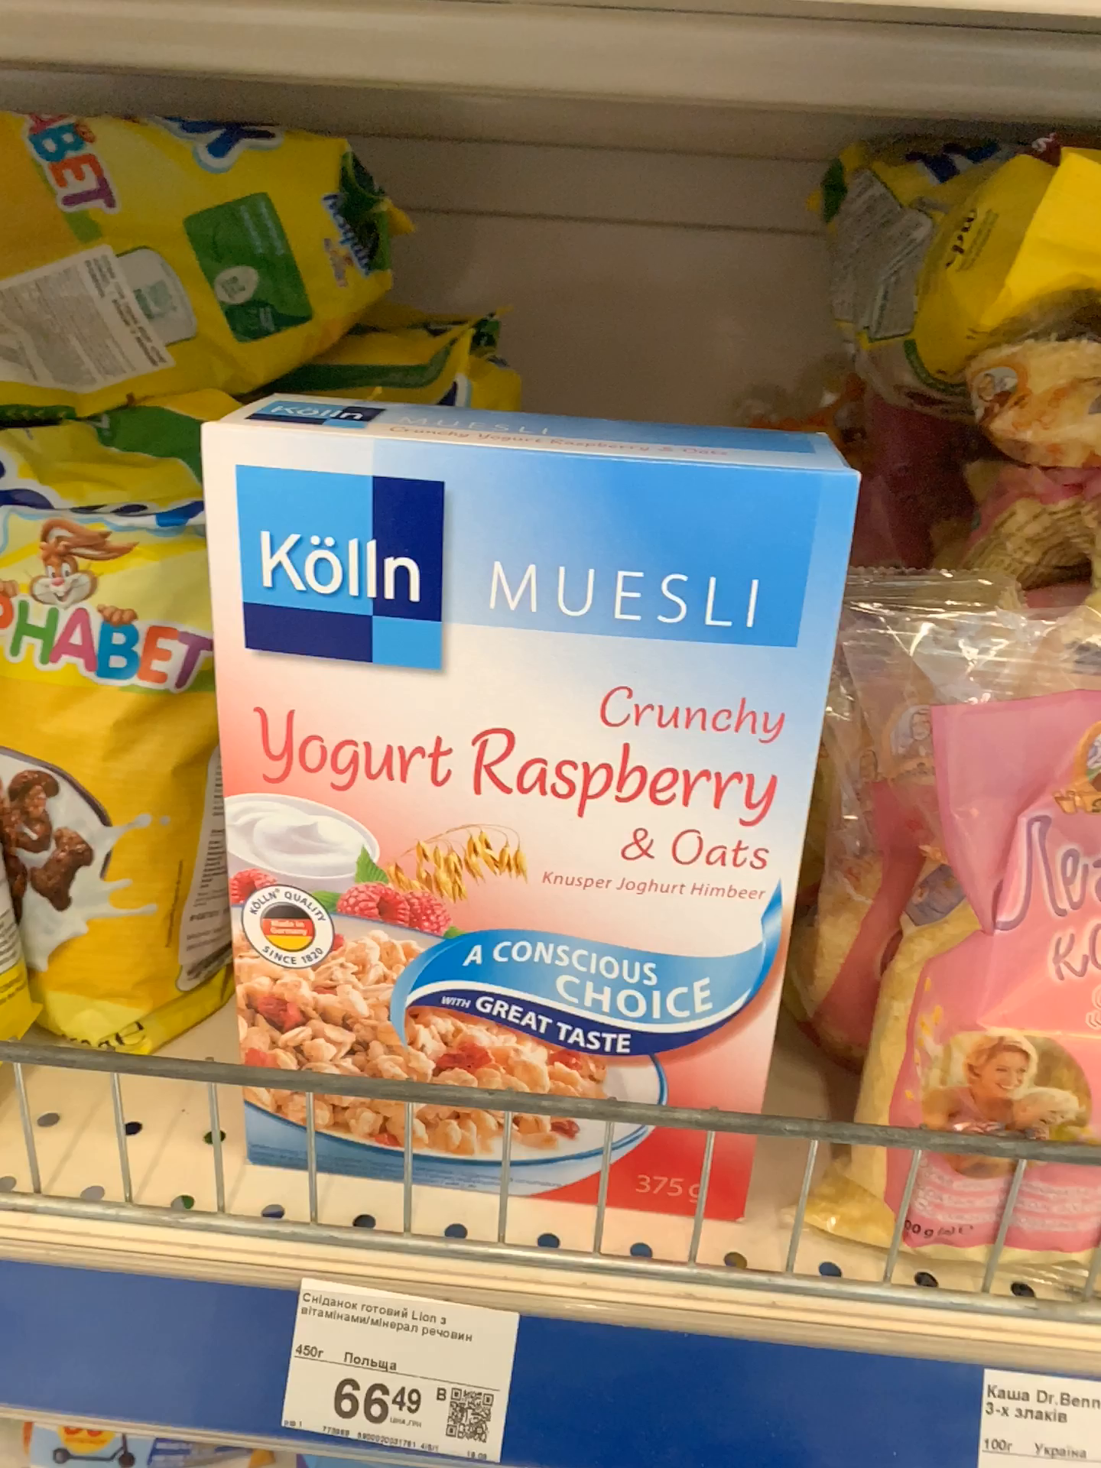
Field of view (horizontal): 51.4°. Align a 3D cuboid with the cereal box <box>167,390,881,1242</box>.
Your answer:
[{"bbox_3d":[-0.009,0.024,0.306,0.150,0.208,0.060,5,23,5],"label":"cereal box"}]
